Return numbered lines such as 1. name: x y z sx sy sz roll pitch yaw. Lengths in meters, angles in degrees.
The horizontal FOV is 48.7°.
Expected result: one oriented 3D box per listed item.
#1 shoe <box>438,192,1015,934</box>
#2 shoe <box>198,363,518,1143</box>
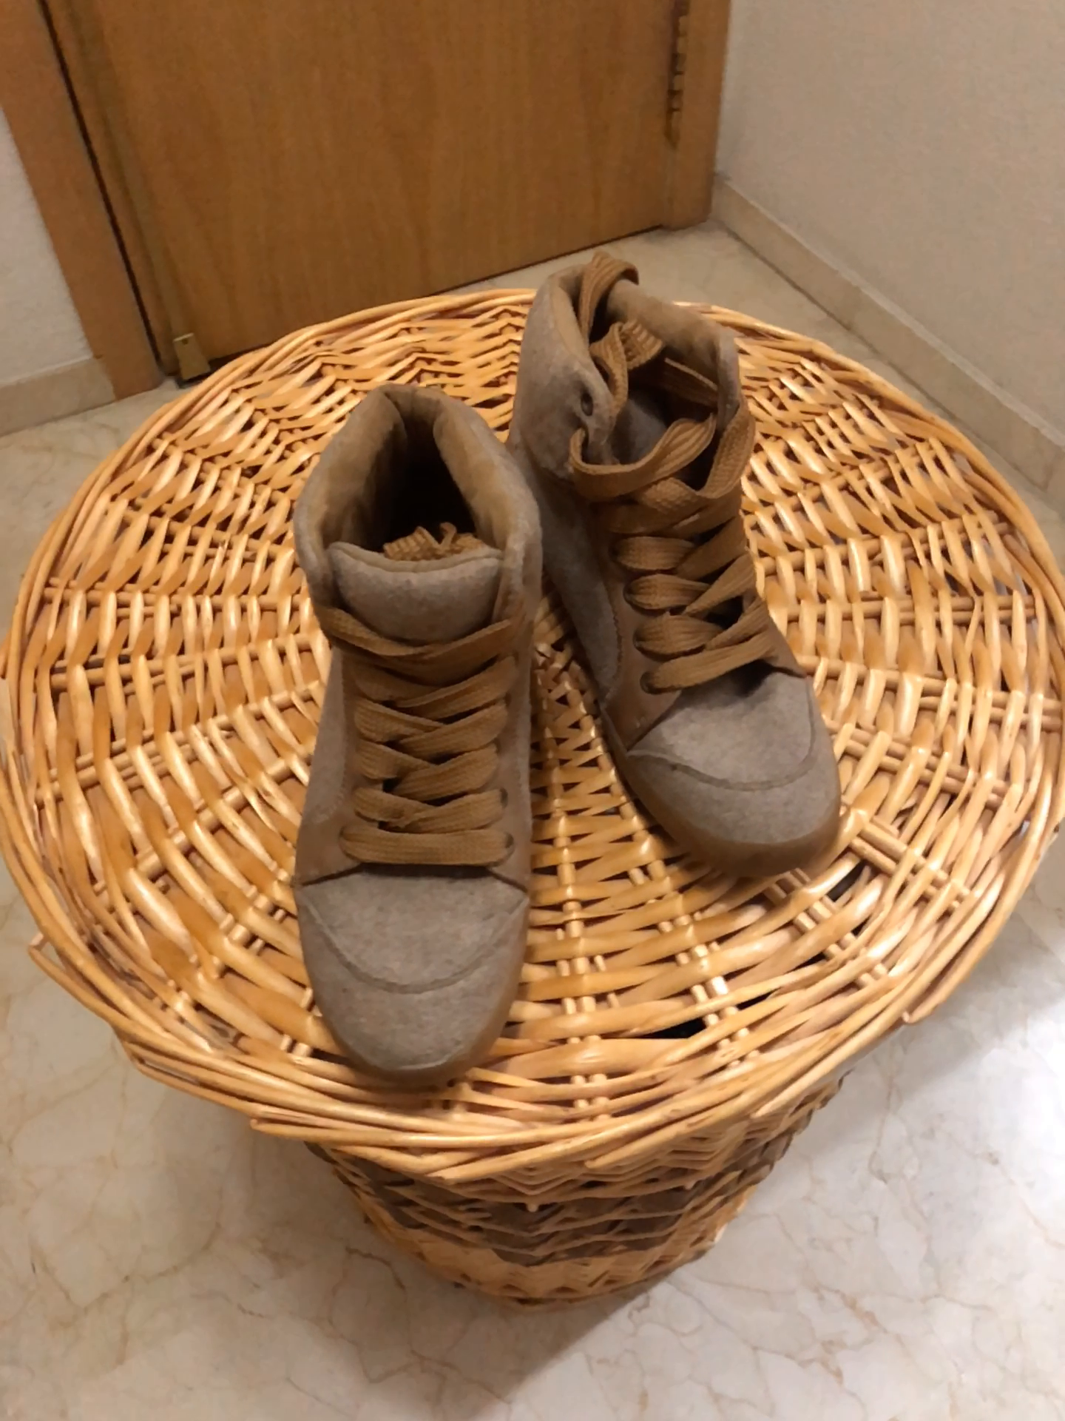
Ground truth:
1. shoe: 0.056 -0.065 0.479 0.096 0.168 0.239 -20 54 -14
2. shoe: -0.051 0.015 0.454 0.079 0.178 0.239 -2 51 0
